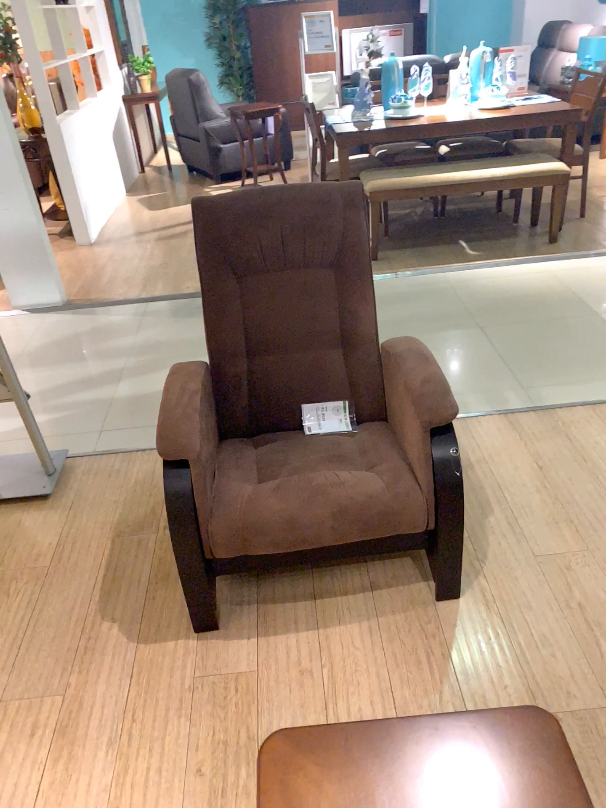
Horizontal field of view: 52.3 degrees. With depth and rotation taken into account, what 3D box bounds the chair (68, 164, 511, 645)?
[{"bbox_3d":[-0.032,-0.075,1.768,0.800,0.886,1.004,-7,33,-2],"label":"chair"}]
